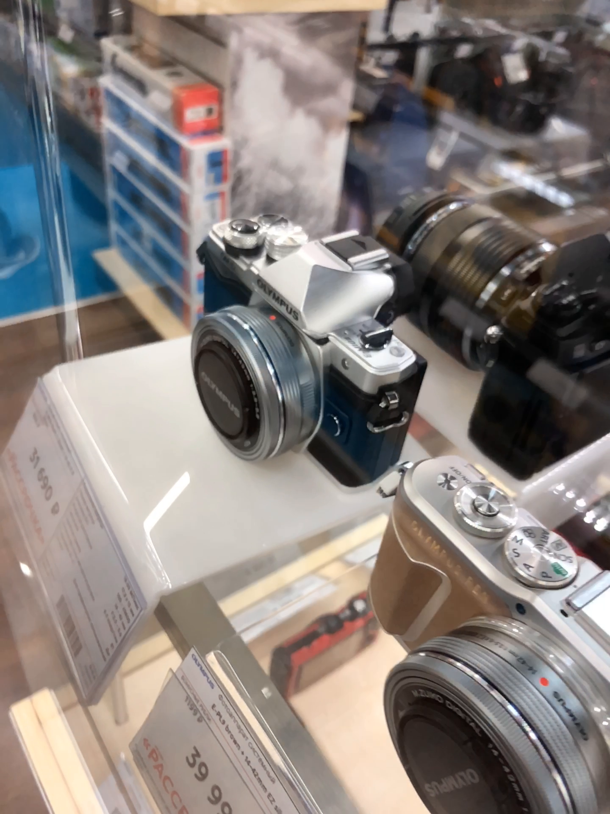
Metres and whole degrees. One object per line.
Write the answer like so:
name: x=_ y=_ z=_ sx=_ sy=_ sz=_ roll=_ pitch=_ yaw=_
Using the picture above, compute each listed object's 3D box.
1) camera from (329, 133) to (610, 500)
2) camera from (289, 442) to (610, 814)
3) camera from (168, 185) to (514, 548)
camera: x=0.097 y=-0.051 z=0.311 sx=0.102 sy=0.087 sz=0.137 roll=-20 pitch=48 yaw=-29
camera: x=0.065 y=0.086 z=0.184 sx=0.065 sy=0.062 sz=0.140 roll=-21 pitch=49 yaw=-30
camera: x=0.005 y=-0.024 z=0.281 sx=0.072 sy=0.080 sz=0.120 roll=-21 pitch=49 yaw=-30
